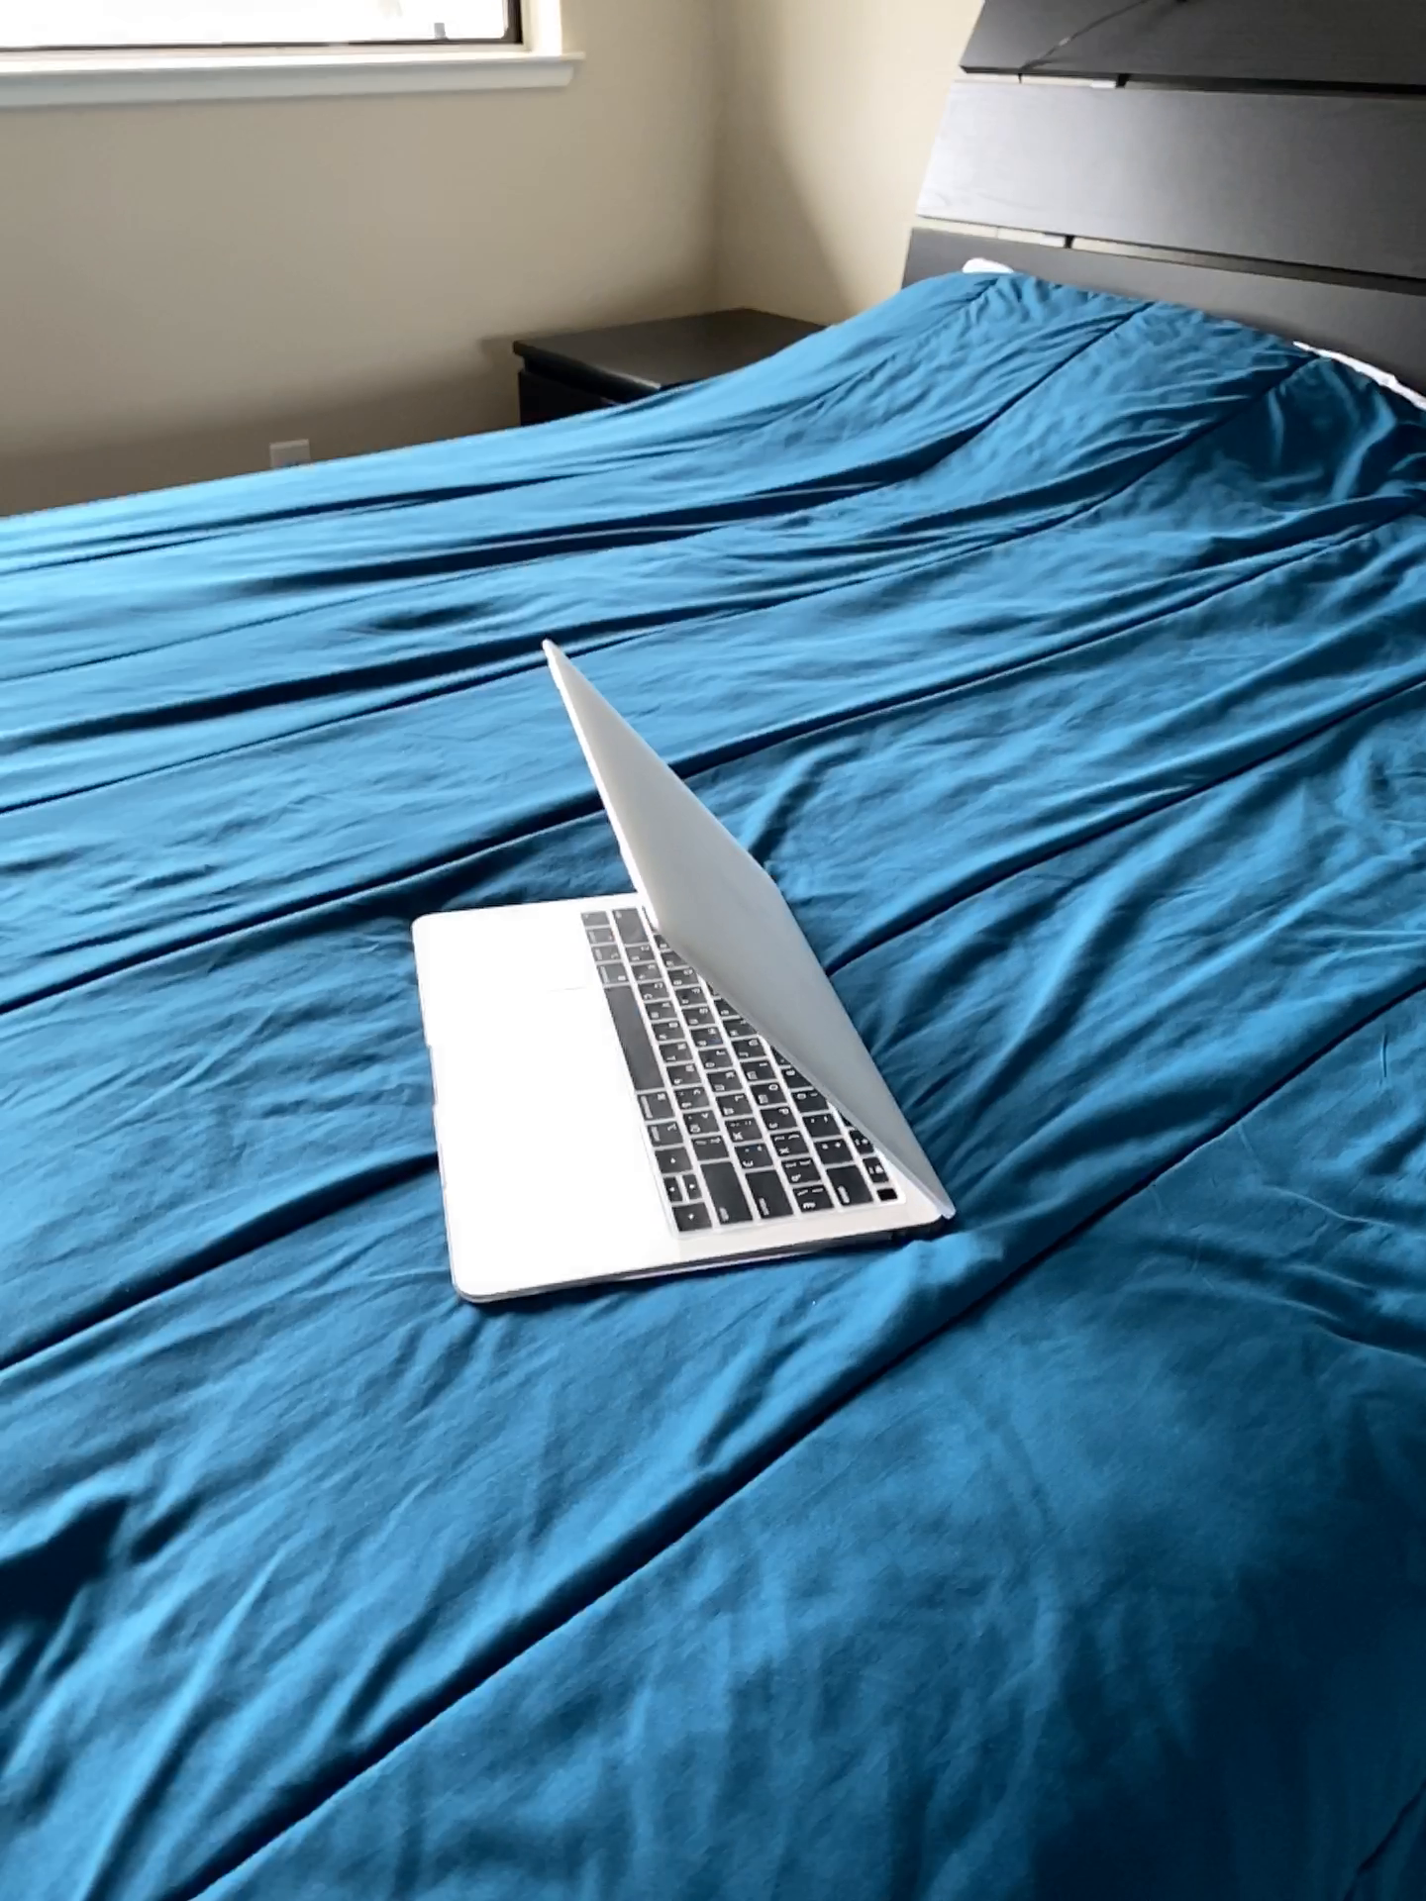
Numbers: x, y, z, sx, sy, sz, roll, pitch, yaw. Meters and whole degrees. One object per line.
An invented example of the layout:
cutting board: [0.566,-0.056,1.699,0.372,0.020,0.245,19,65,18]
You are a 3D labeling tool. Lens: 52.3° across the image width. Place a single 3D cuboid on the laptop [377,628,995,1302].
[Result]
laptop: [-0.033,-0.017,0.684,0.215,0.161,0.297,-7,33,-12]
